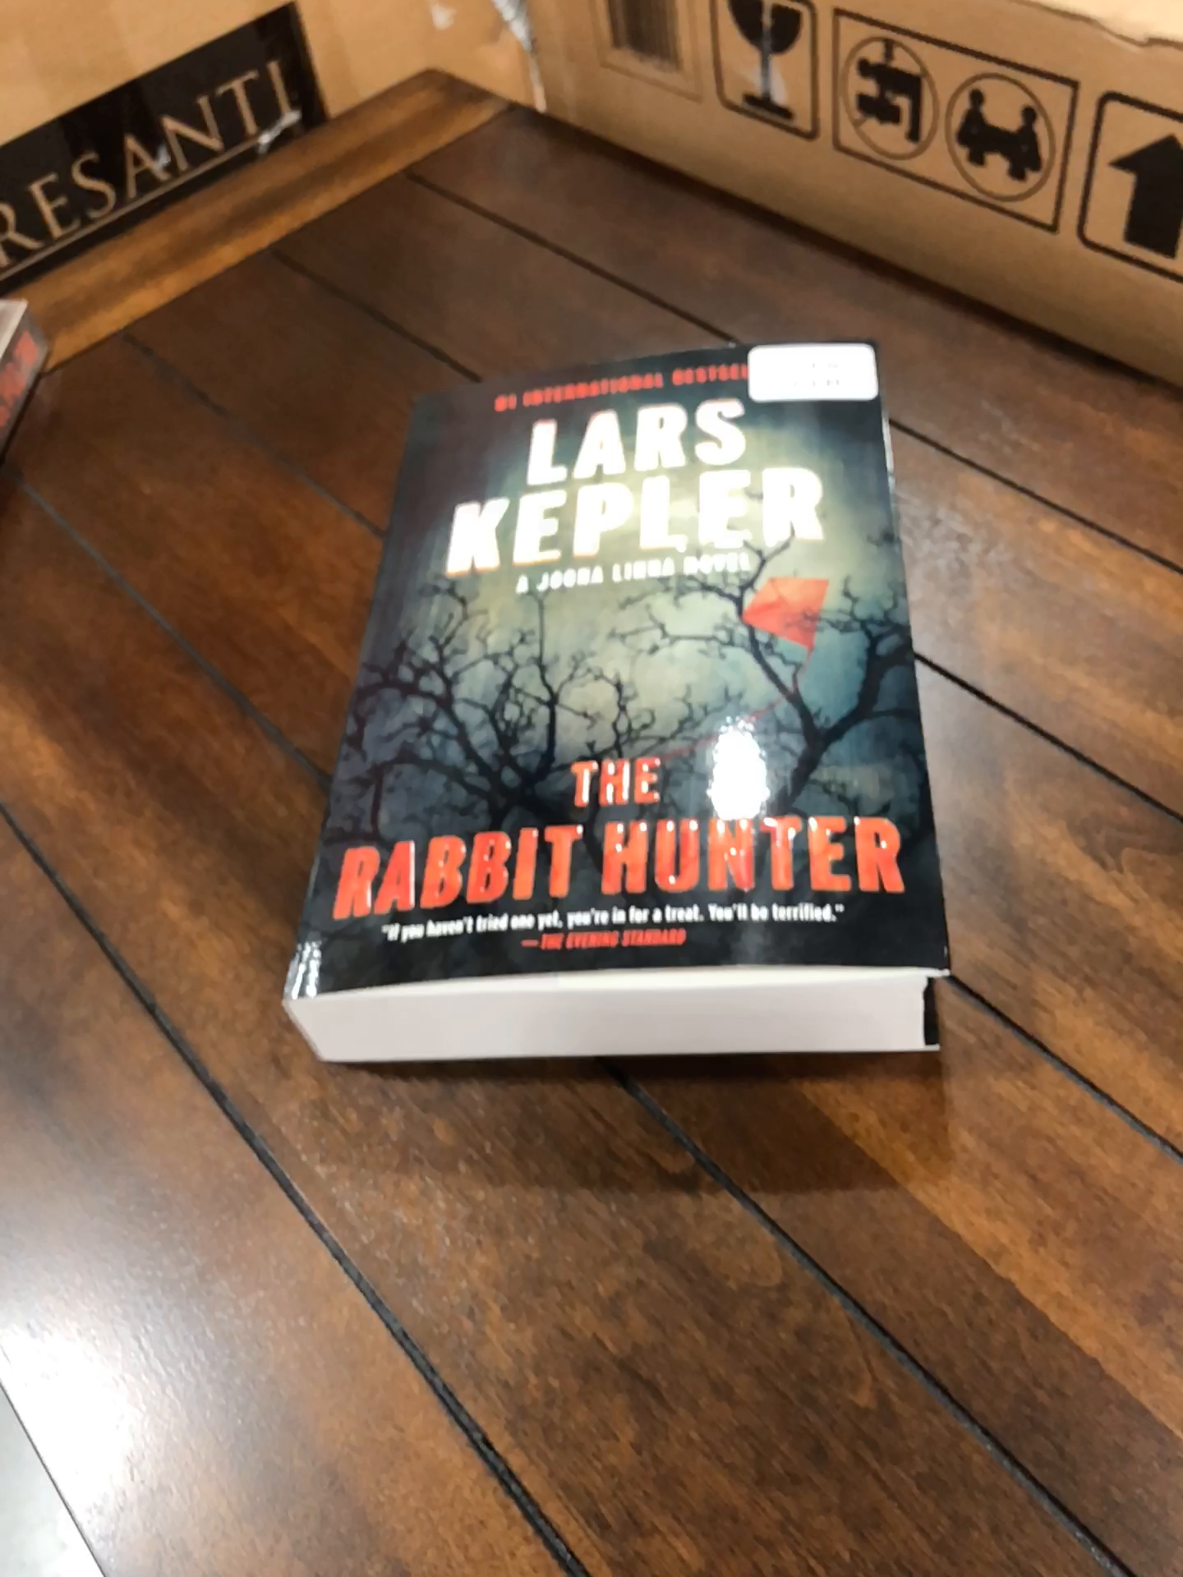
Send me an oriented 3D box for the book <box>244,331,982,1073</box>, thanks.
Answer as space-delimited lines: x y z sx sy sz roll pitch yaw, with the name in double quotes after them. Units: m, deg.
0.010 -0.034 0.369 0.159 0.046 0.222 -3 52 8 "book"
